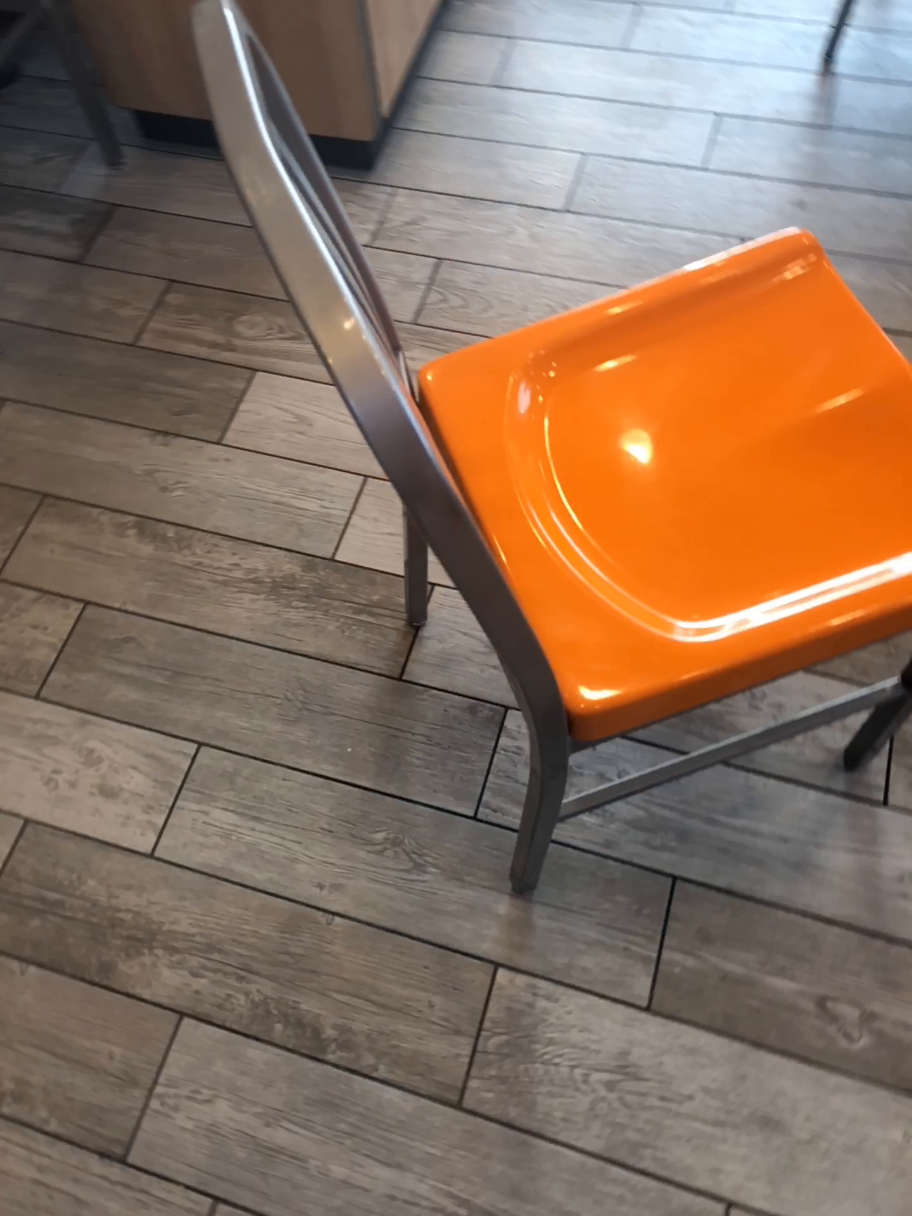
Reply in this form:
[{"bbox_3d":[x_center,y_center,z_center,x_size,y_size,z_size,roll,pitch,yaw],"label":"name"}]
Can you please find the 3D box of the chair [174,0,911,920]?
[{"bbox_3d":[0.189,-0.142,0.831,0.510,0.819,0.471,-19,62,-6],"label":"chair"}]
